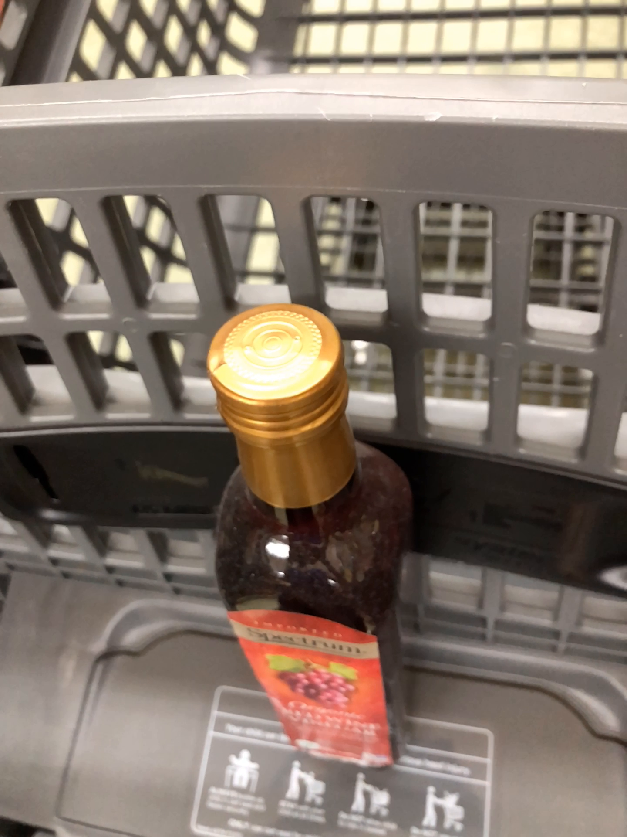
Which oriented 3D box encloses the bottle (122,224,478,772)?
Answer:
[{"bbox_3d":[0.016,0.060,0.271,0.070,0.270,0.070,-4,52,5],"label":"bottle"}]
